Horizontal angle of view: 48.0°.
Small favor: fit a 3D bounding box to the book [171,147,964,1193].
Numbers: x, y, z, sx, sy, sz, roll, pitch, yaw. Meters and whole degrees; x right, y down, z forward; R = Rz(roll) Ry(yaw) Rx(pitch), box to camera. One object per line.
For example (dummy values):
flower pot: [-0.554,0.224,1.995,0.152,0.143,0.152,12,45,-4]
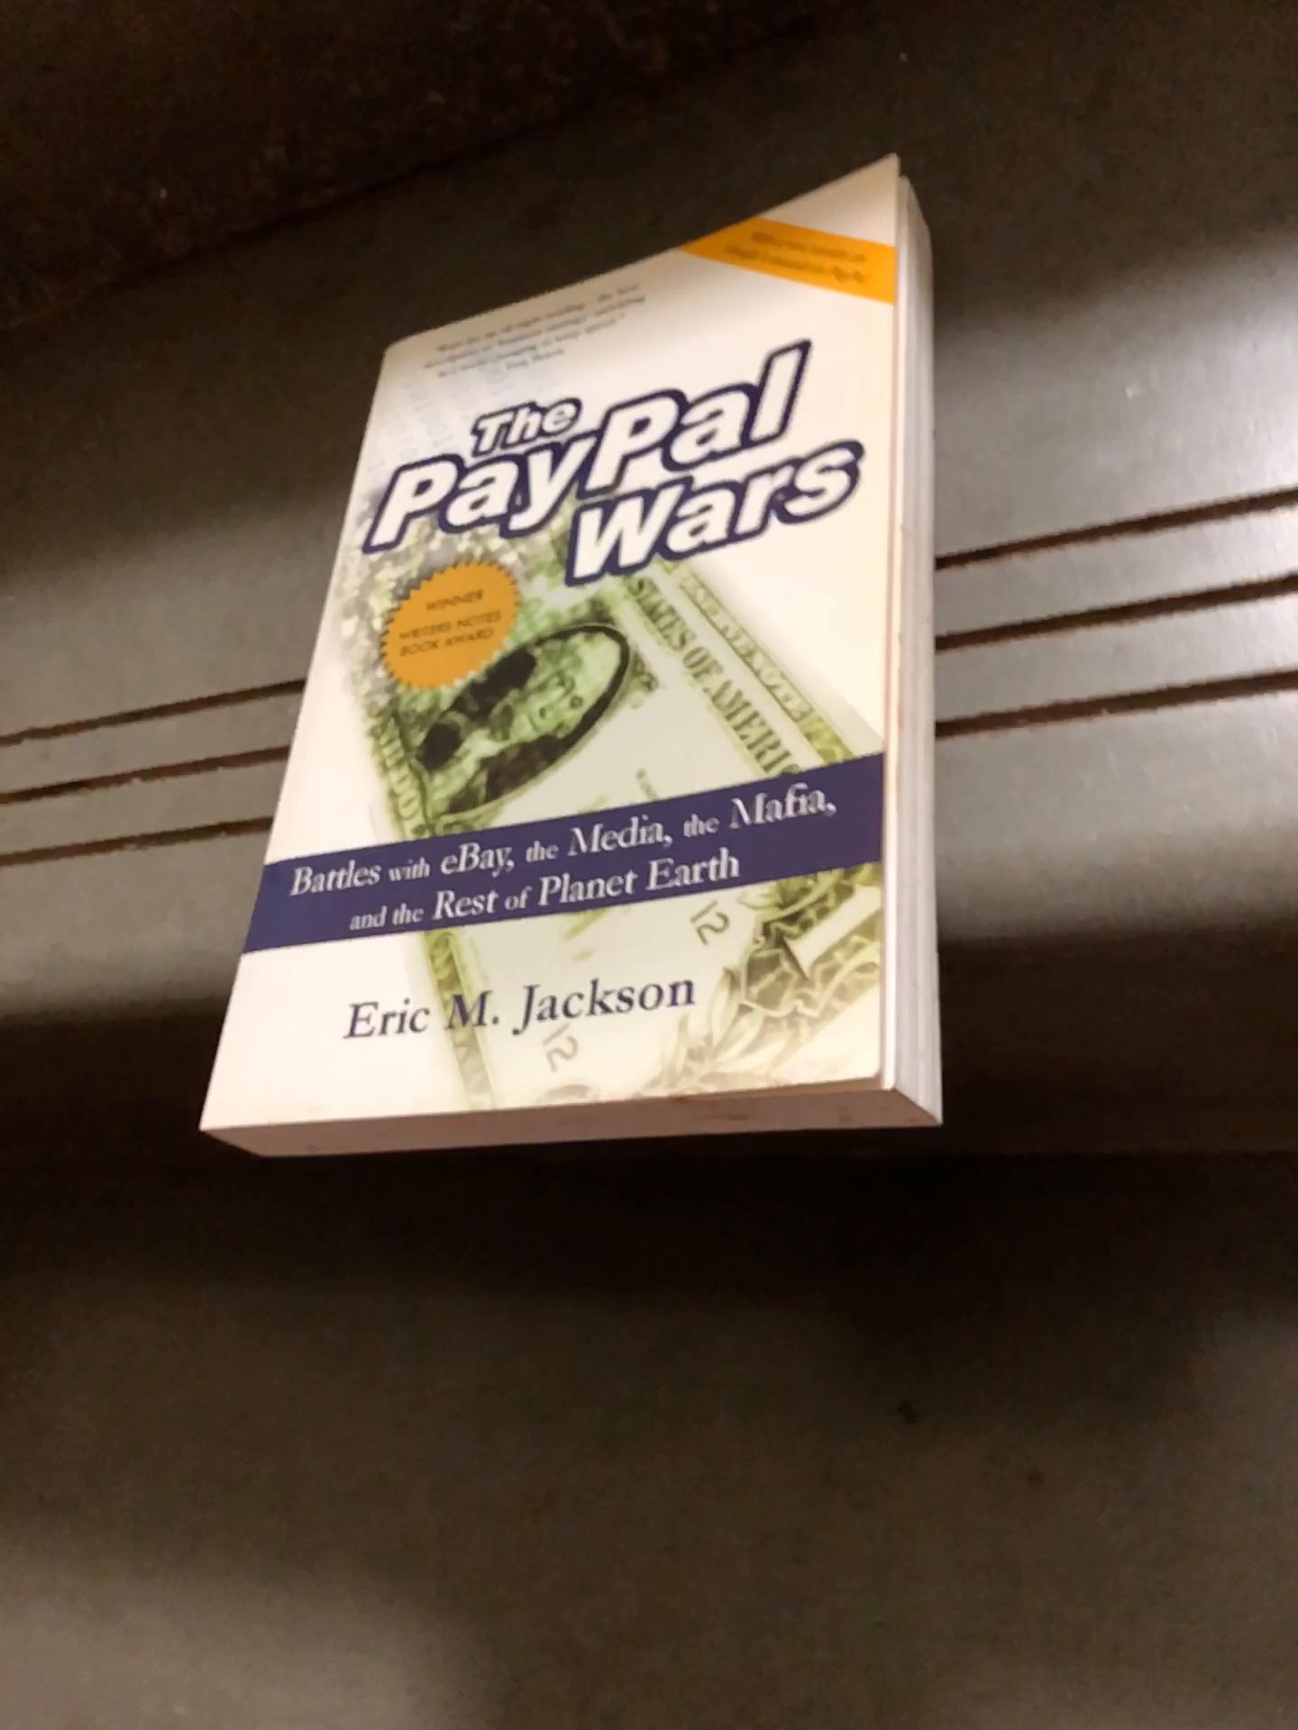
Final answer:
book: [-0.011,-0.044,0.316,0.151,0.030,0.220,-8,60,26]
